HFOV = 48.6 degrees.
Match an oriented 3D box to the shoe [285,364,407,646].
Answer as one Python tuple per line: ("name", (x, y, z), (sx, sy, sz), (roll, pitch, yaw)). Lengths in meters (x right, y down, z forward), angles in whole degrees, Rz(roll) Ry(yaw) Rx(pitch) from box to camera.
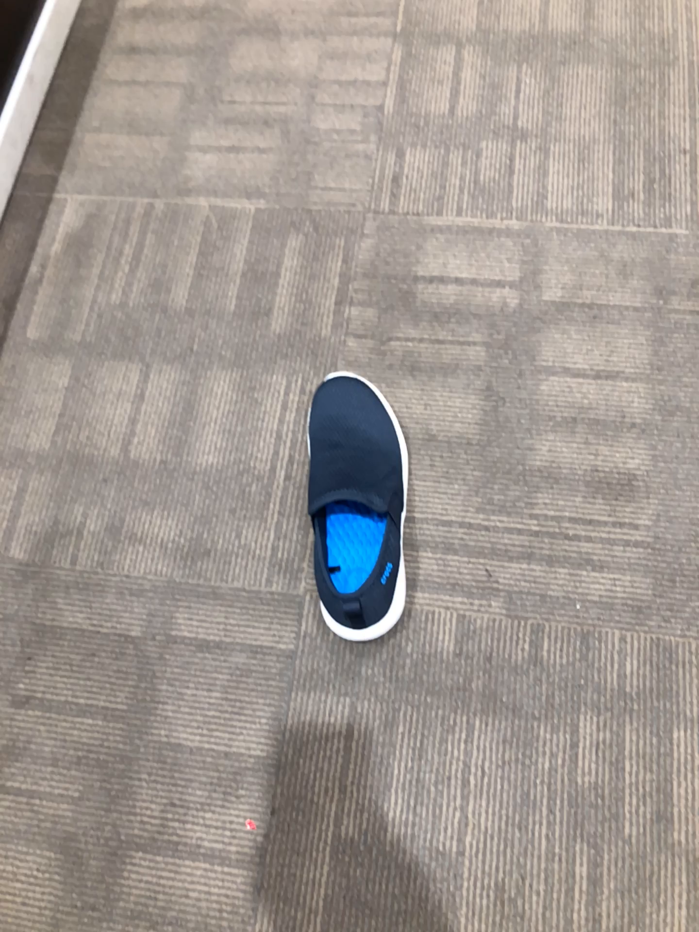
("shoe", (0.002, 0.043, 0.813), (0.110, 0.120, 0.271), (-1, 69, 5))
